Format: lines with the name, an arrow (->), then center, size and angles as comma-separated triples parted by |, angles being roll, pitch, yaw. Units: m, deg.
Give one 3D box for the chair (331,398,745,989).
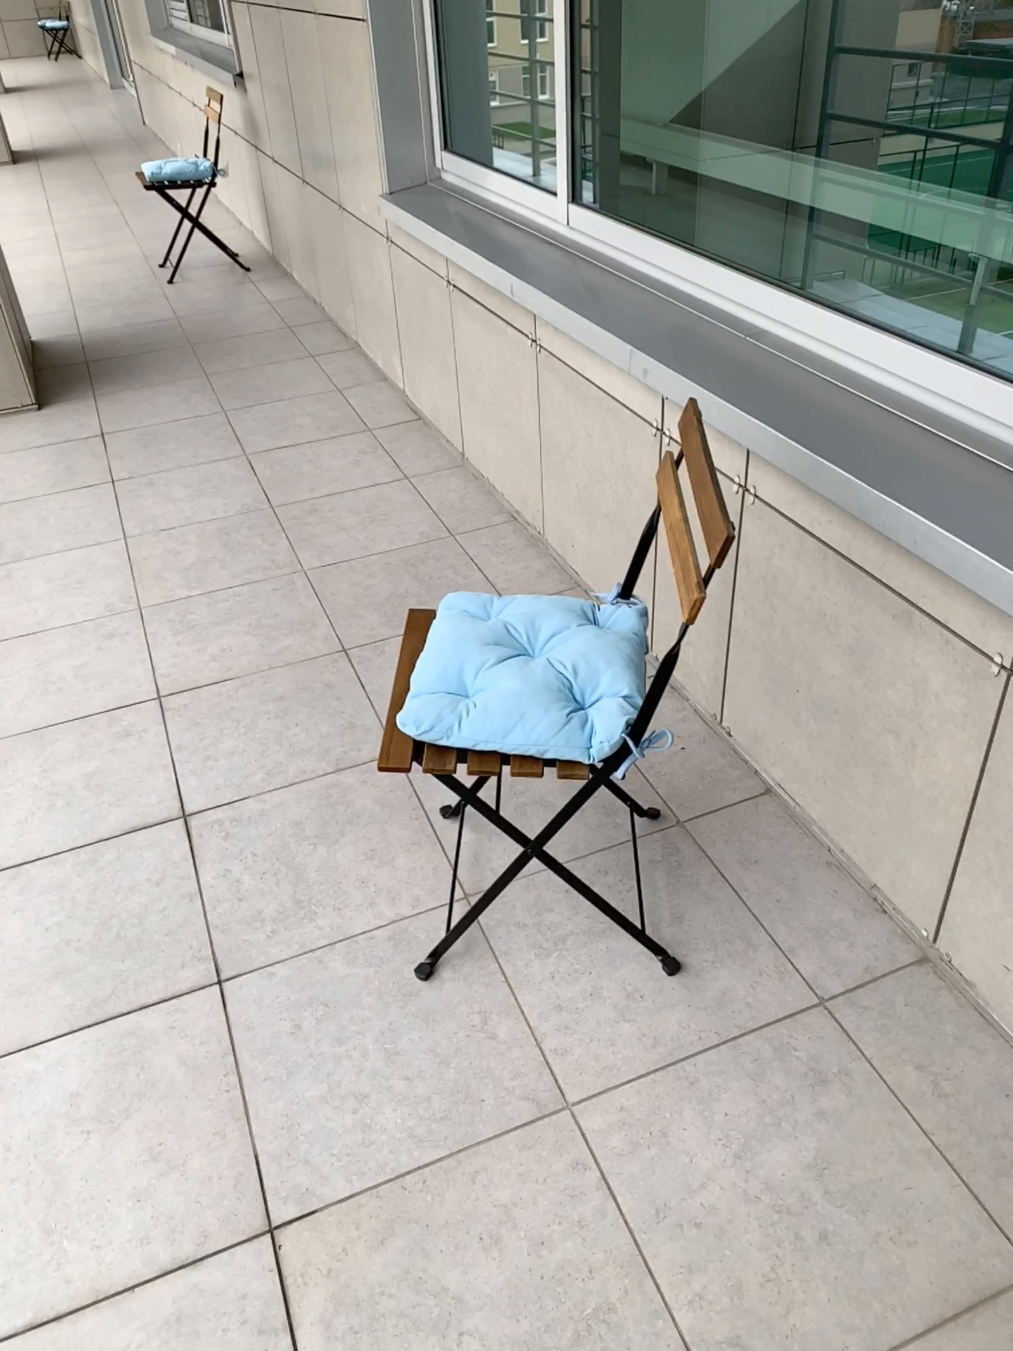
chair -> 0.060, 0.038, 1.511 | 0.452, 0.748, 0.419 | 0, 35, 4
